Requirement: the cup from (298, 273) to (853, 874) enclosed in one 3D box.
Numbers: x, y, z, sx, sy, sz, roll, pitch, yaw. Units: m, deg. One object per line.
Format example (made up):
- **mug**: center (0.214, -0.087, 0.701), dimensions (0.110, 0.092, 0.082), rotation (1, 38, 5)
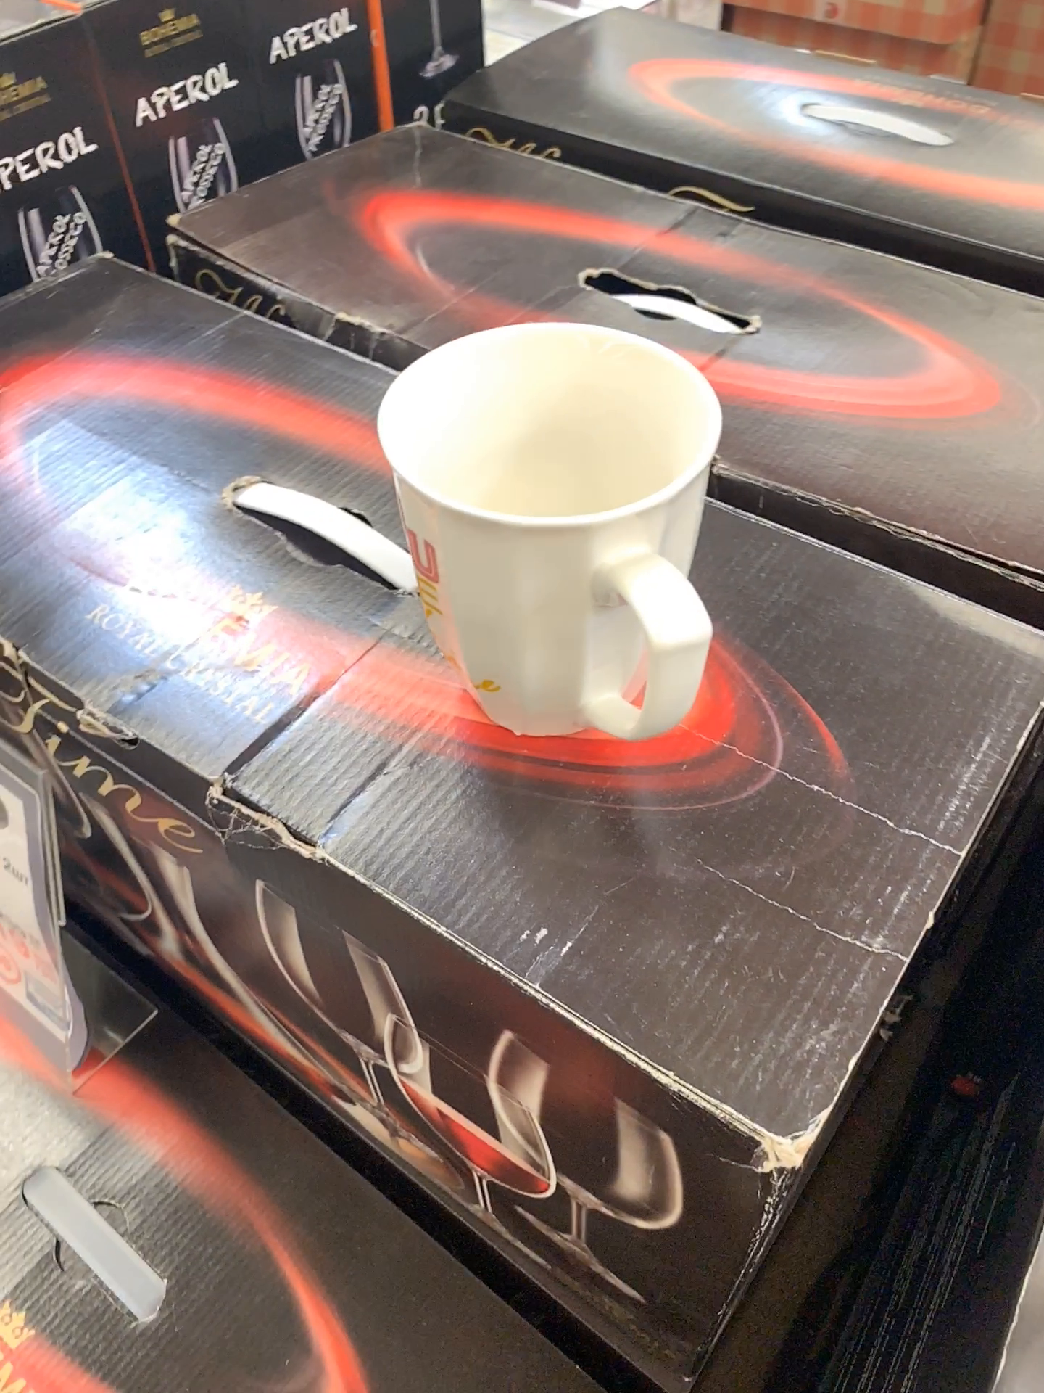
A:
- **cup**: center (0.006, -0.037, 0.283), dimensions (0.090, 0.080, 0.120), rotation (-17, 50, -13)
